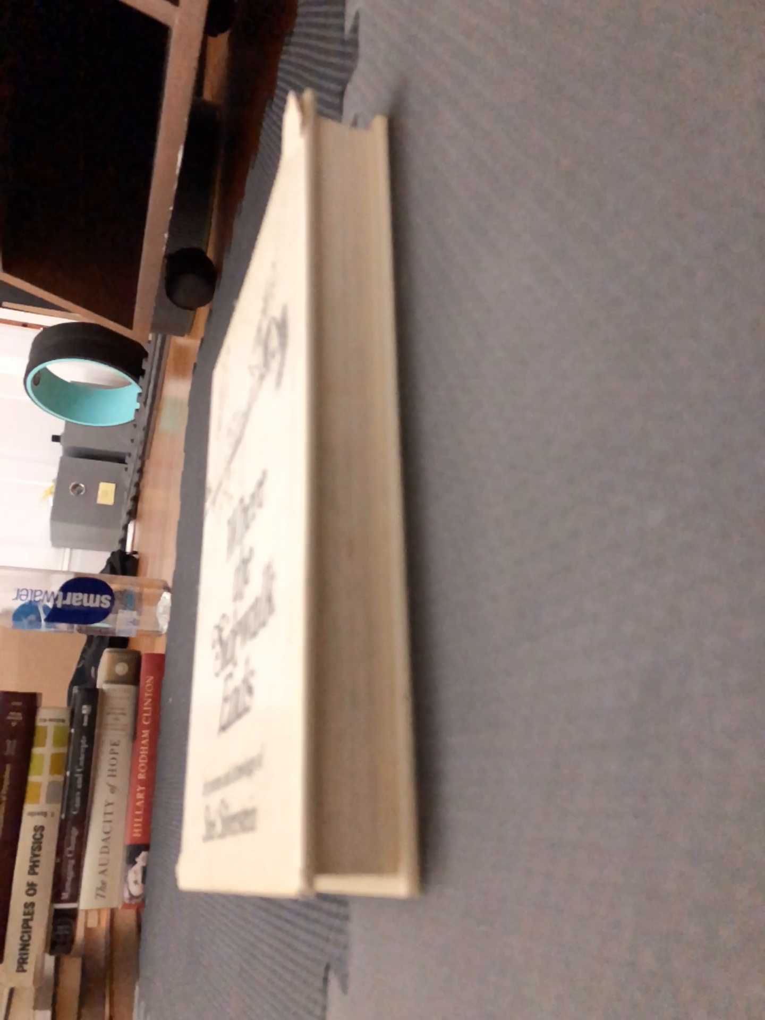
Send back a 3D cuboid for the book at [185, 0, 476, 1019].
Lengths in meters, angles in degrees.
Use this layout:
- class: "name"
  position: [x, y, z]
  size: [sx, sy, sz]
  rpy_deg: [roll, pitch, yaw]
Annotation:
- class: "book"
  position: [-0.030, 0.003, 0.294]
  size: [0.200, 0.030, 0.280]
  rpy_deg: [132, 141, -61]
